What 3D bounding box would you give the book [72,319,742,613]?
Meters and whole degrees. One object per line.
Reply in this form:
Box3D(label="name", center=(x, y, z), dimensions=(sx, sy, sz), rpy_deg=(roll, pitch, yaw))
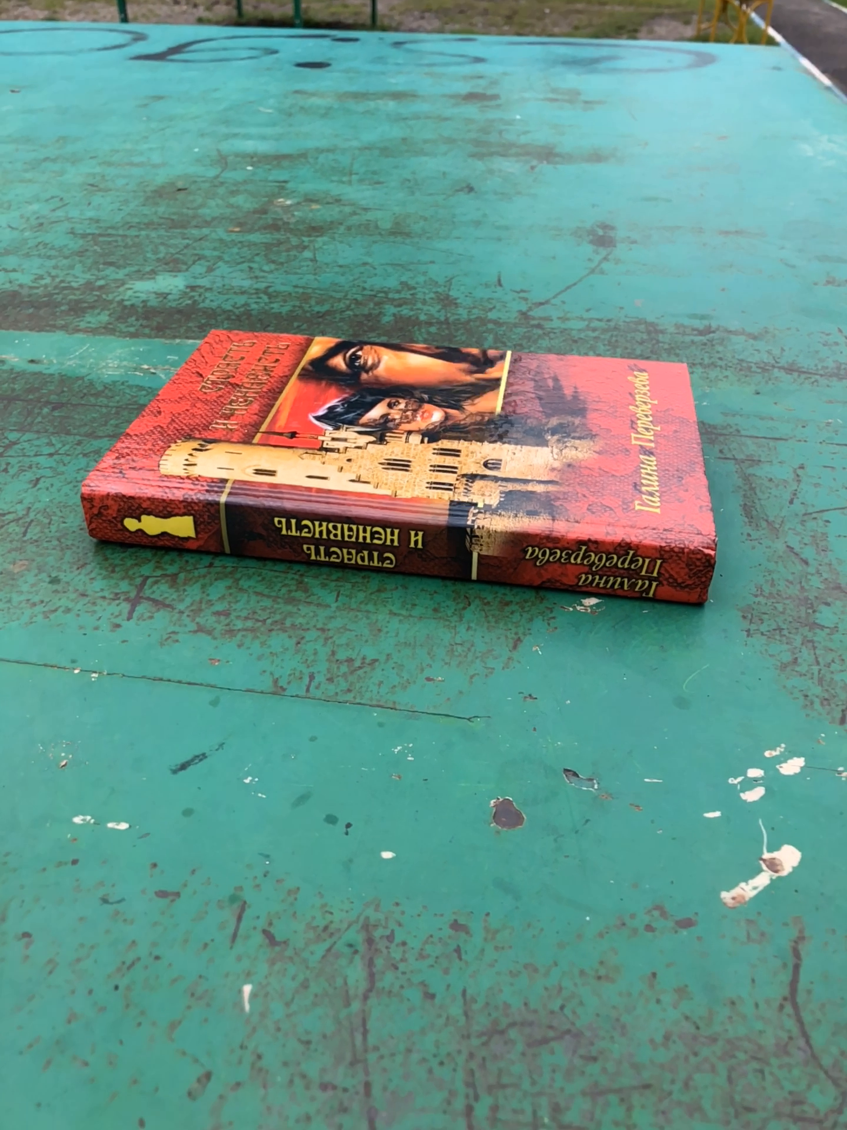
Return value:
Box3D(label="book", center=(0.001, -0.047, 0.358), dimensions=(0.210, 0.030, 0.144), rpy_deg=(5, 35, 6))
